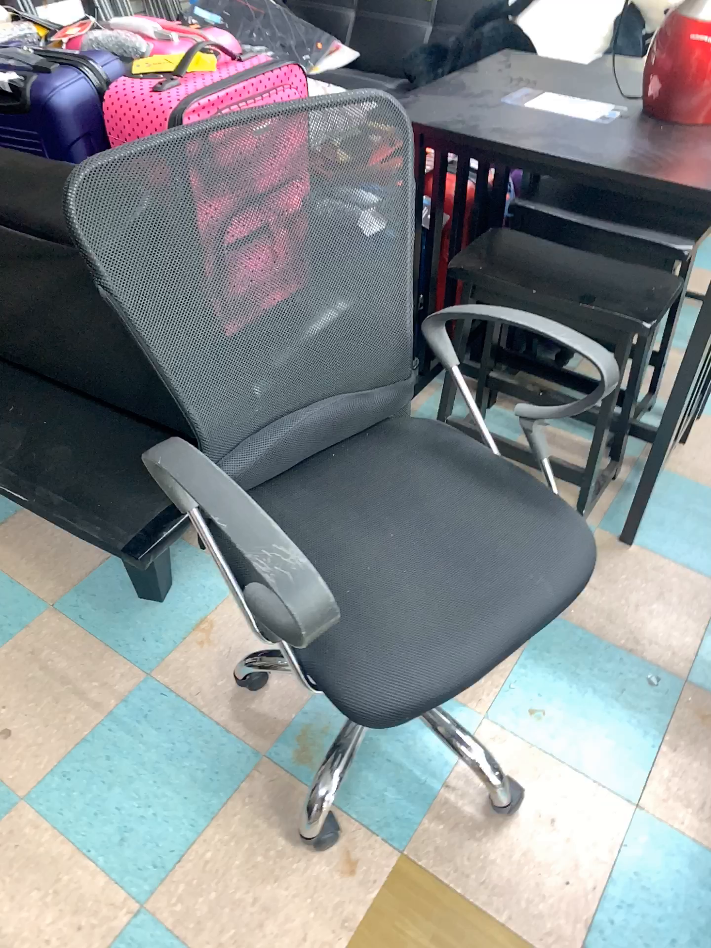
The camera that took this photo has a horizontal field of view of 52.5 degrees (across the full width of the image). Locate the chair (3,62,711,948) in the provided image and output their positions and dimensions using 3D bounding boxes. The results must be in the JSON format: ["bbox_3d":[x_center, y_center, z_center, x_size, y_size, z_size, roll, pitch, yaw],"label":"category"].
[{"bbox_3d":[0.074,0.083,1.050,0.622,1.019,0.602,-30,51,-29],"label":"chair"}]
